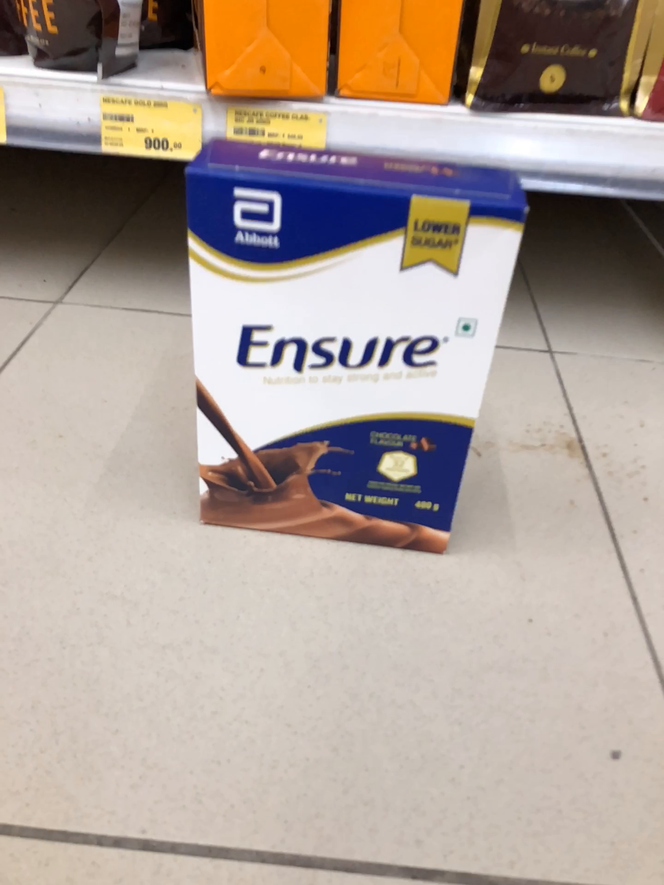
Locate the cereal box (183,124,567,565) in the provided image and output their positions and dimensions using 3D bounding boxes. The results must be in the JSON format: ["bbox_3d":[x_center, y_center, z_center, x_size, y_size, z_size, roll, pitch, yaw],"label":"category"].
[{"bbox_3d":[0.012,-0.039,0.340,0.140,0.179,0.060,8,36,4],"label":"cereal box"}]
